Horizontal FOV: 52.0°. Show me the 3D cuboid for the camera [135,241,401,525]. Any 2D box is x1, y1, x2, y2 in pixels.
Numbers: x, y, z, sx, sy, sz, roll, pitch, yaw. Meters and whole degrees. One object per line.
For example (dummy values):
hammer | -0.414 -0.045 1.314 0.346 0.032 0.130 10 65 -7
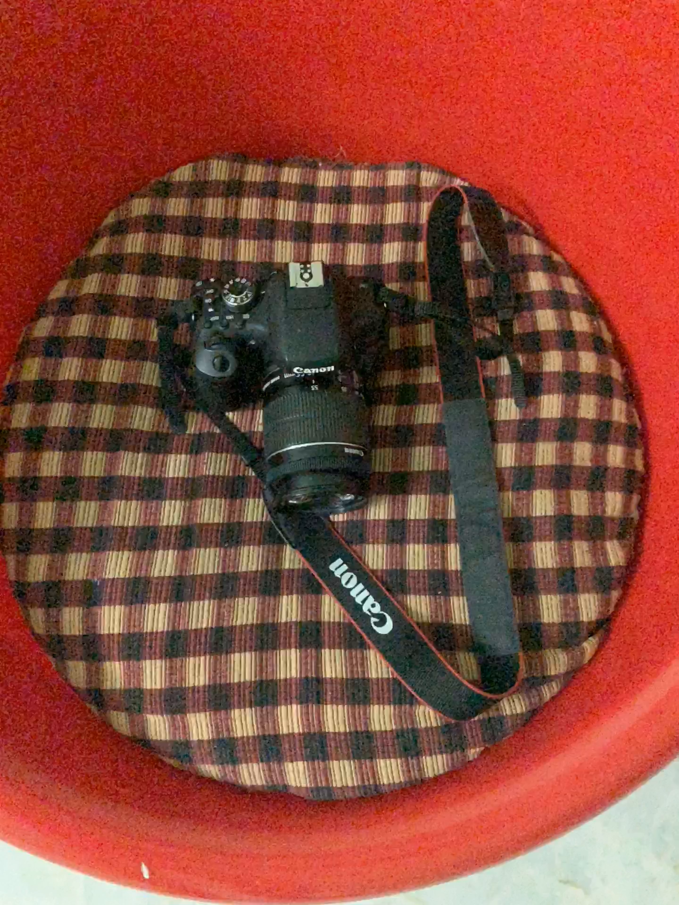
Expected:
camera | -0.042 -0.036 0.445 0.140 0.130 0.138 -3 76 -1
